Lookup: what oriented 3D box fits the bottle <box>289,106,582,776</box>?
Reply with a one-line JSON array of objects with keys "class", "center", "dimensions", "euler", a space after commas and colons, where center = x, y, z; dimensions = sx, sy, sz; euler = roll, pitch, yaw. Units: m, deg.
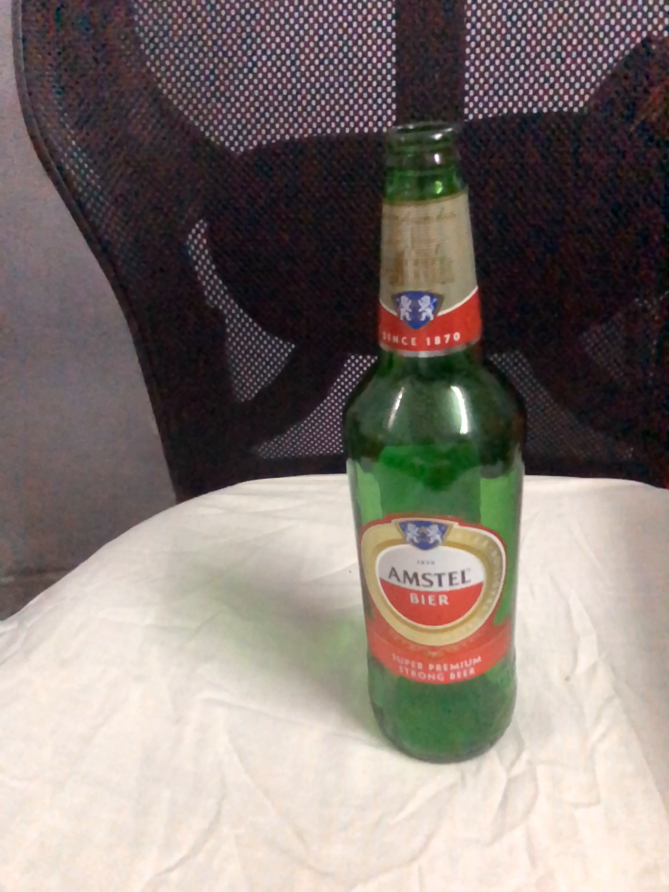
[{"class": "bottle", "center": [0.040, 0.019, 0.302], "dimensions": [0.080, 0.279, 0.060], "euler": [2, 32, 9]}]
